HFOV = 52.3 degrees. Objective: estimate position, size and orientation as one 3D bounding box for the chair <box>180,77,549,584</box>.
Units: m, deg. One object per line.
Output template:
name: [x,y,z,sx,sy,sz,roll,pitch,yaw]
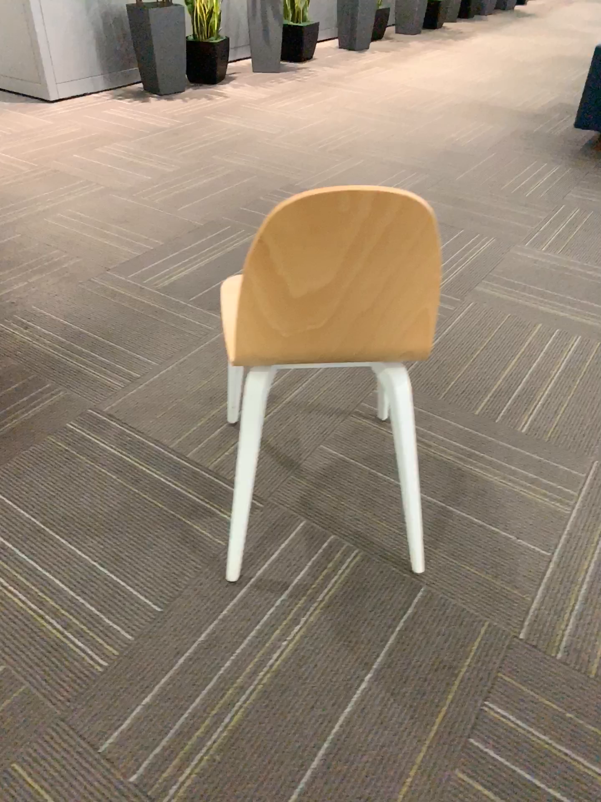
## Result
chair: [0.055,-0.131,1.237,0.460,0.825,0.573,-1,39,-4]
